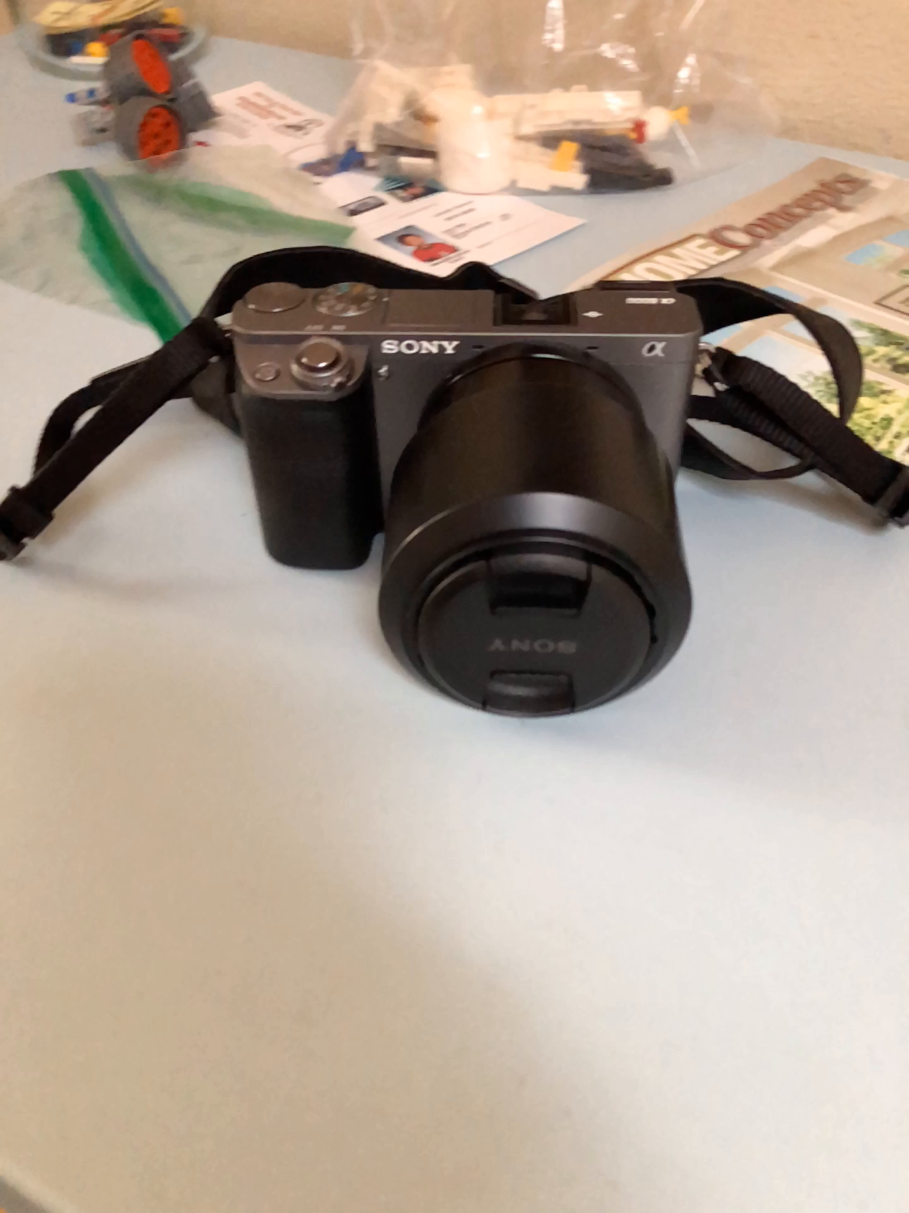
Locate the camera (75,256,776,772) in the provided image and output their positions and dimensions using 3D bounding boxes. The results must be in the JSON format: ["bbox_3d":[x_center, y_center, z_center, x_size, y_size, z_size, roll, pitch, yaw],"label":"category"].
[{"bbox_3d":[-0.003,-0.028,0.249,0.130,0.070,0.111,2,44,3],"label":"camera"}]
